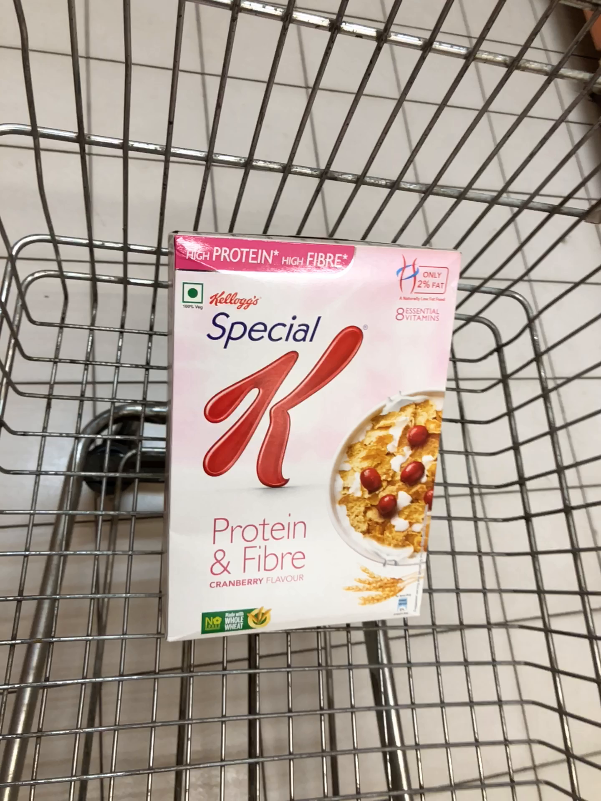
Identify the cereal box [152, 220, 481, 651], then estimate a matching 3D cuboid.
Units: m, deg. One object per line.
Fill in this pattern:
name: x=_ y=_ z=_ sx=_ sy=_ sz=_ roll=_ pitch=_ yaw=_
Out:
cereal box: x=-0.002 y=0.020 z=0.475 sx=0.190 sy=0.100 sz=0.269 roll=0 pitch=106 yaw=-17
